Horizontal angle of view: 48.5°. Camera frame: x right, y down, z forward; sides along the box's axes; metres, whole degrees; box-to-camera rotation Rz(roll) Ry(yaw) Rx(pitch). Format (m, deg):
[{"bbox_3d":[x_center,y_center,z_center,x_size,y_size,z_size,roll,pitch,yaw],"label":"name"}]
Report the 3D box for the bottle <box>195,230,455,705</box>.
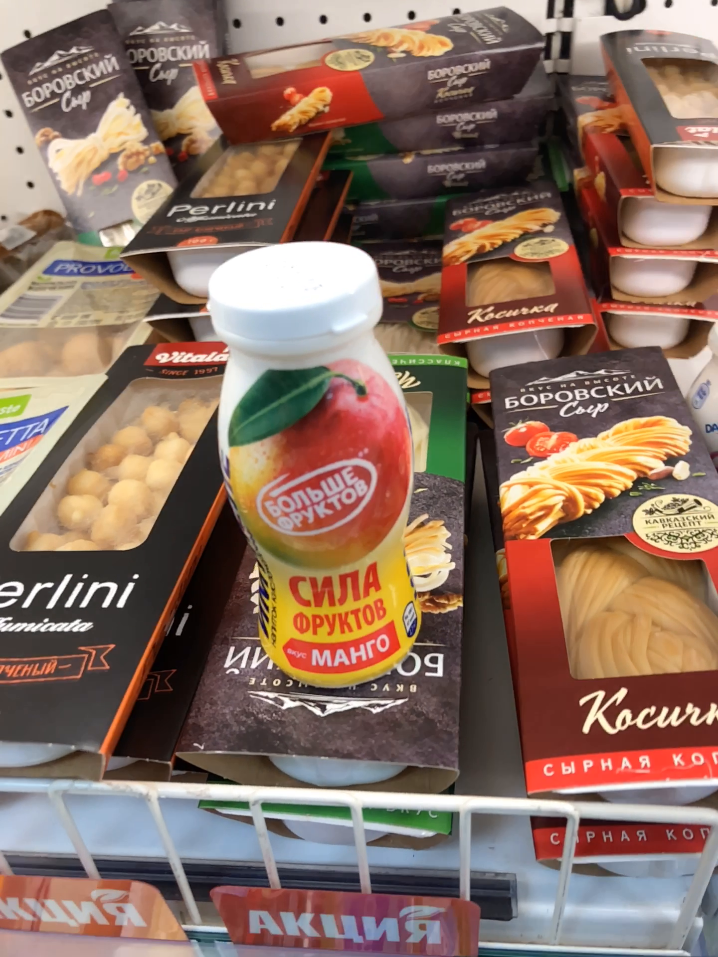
[{"bbox_3d":[-0.006,0.000,0.191,0.046,0.099,0.044,-3,36,2],"label":"bottle"}]
